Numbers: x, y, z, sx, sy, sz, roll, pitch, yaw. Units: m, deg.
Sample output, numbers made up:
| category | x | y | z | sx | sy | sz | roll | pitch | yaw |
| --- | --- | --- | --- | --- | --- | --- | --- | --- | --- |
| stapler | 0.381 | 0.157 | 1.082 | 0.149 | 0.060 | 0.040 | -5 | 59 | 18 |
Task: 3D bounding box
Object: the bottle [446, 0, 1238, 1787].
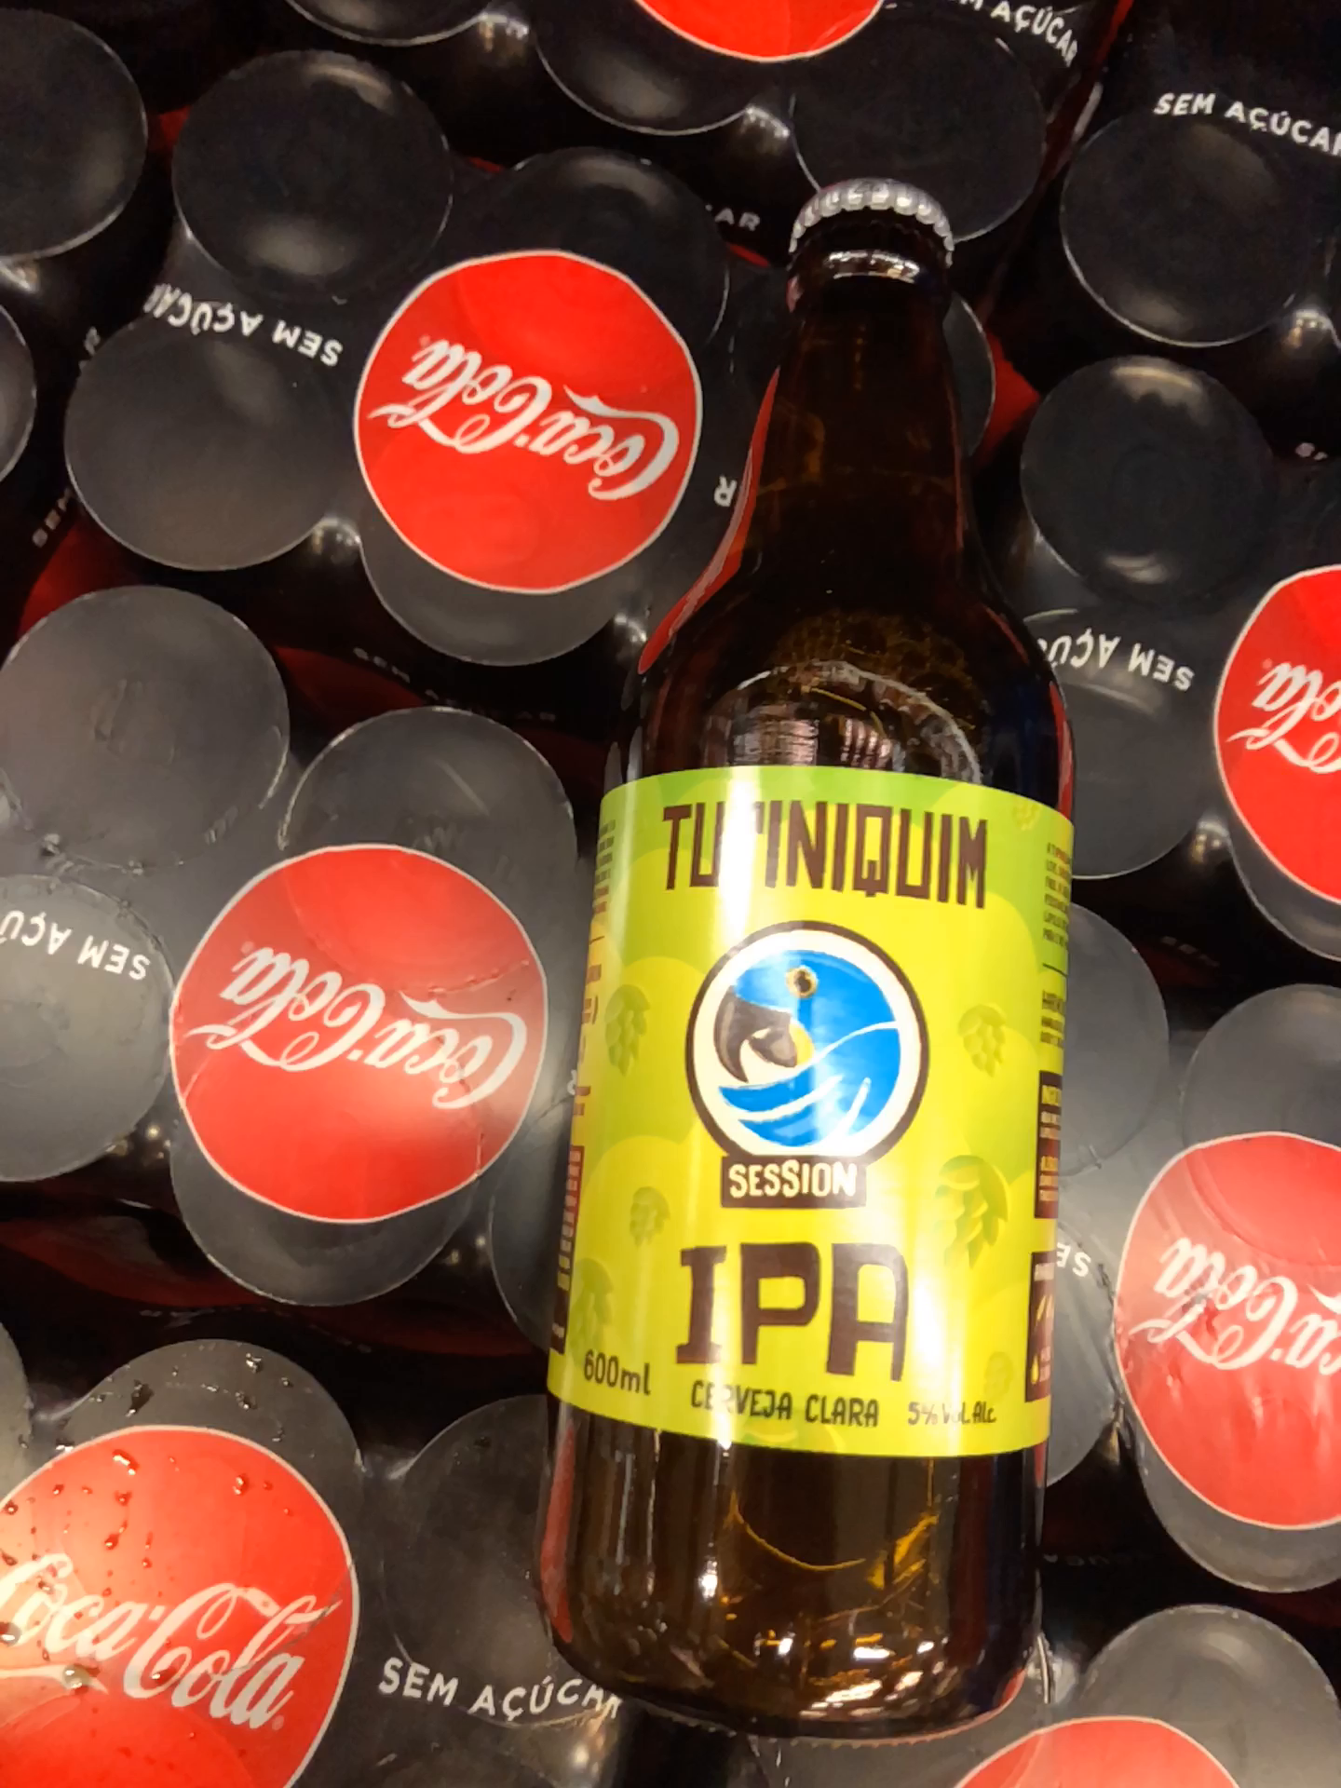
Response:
| category | x | y | z | sx | sy | sz | roll | pitch | yaw |
| --- | --- | --- | --- | --- | --- | --- | --- | --- | --- |
| bottle | 0.026 | -0.012 | 0.226 | 0.090 | 0.070 | 0.260 | 5 | 80 | -4 |
